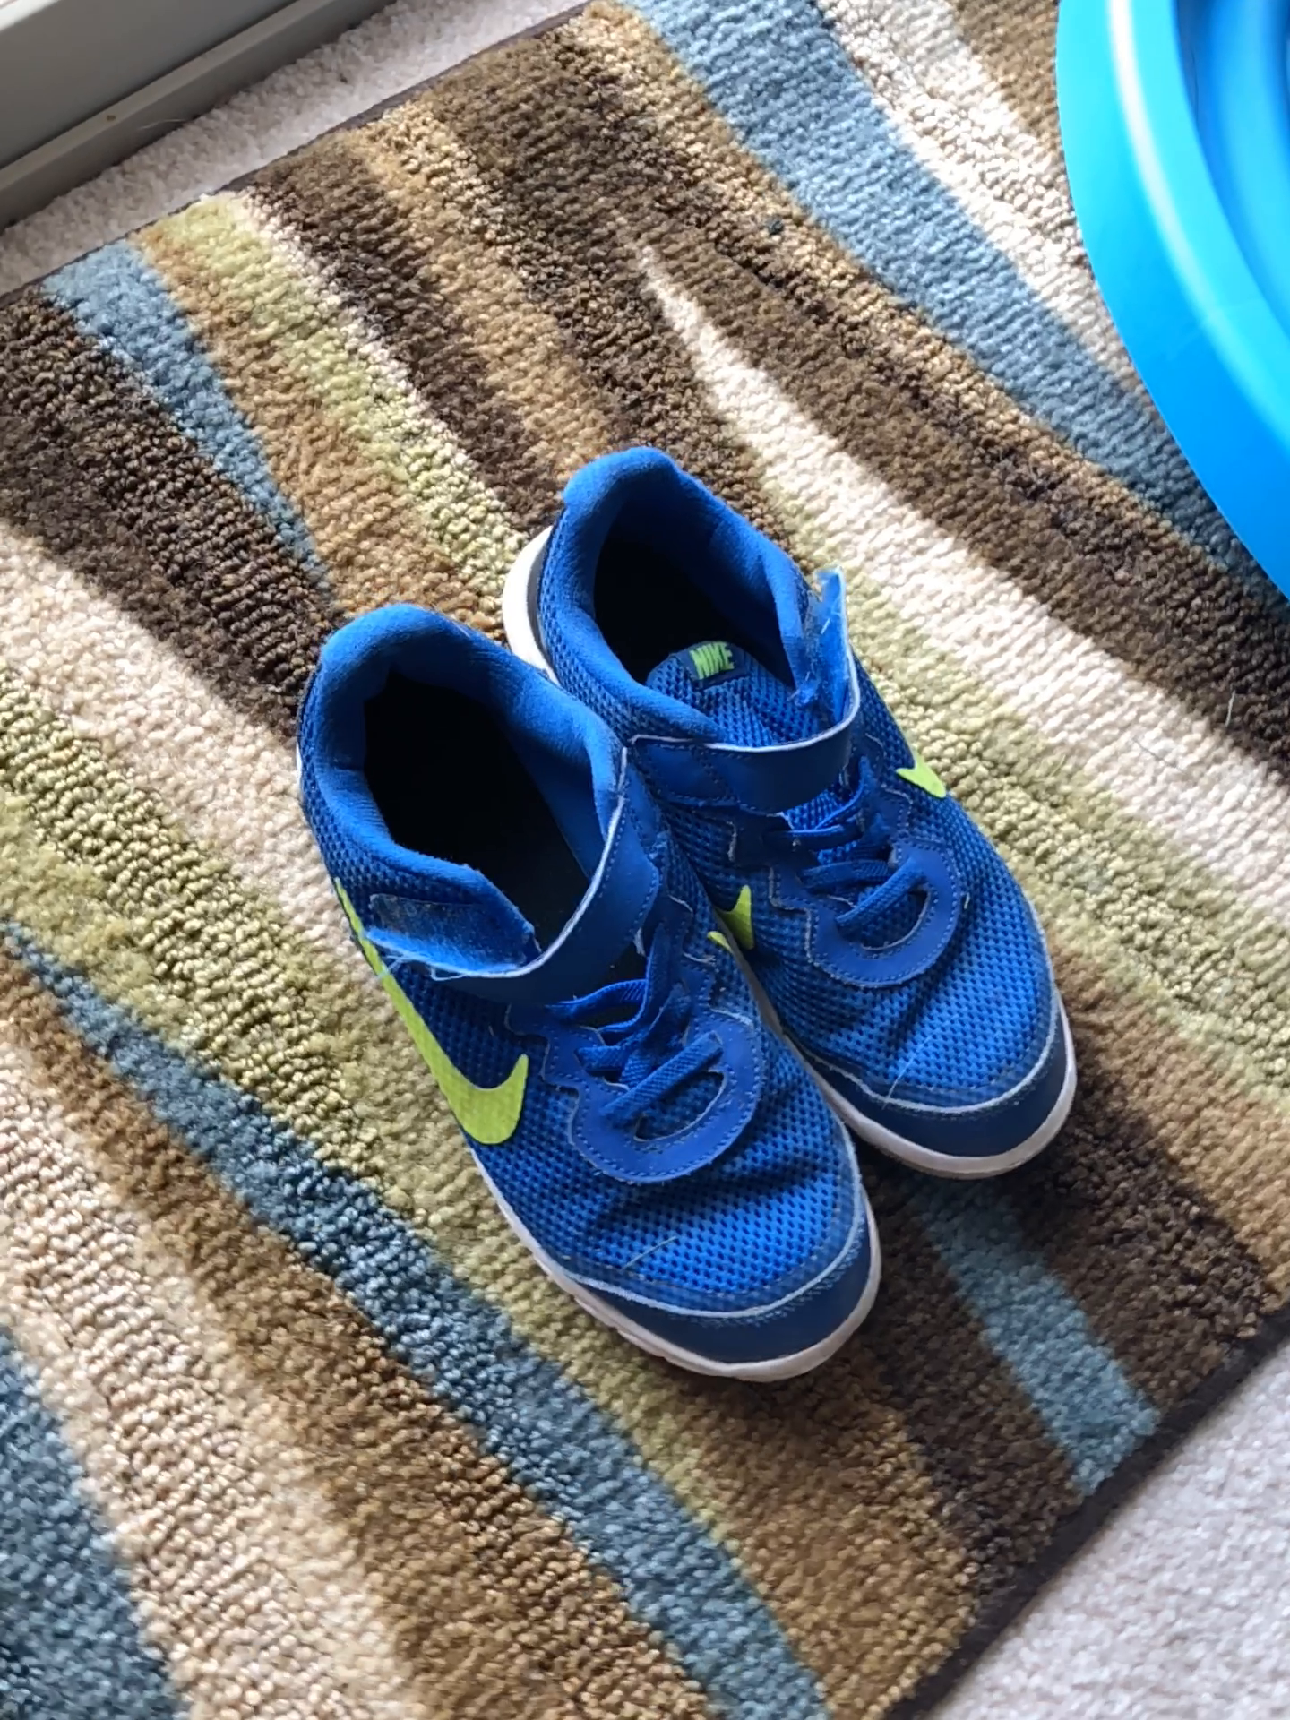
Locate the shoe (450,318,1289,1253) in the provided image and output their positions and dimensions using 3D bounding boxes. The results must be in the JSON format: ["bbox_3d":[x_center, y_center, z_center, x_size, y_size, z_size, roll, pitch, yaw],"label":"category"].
[{"bbox_3d":[0.056,-0.020,0.395,0.104,0.075,0.230,-35,81,-17],"label":"shoe"}]

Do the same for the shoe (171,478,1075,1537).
[{"bbox_3d":[-0.012,0.033,0.368,0.102,0.075,0.233,-31,80,-17],"label":"shoe"}]
